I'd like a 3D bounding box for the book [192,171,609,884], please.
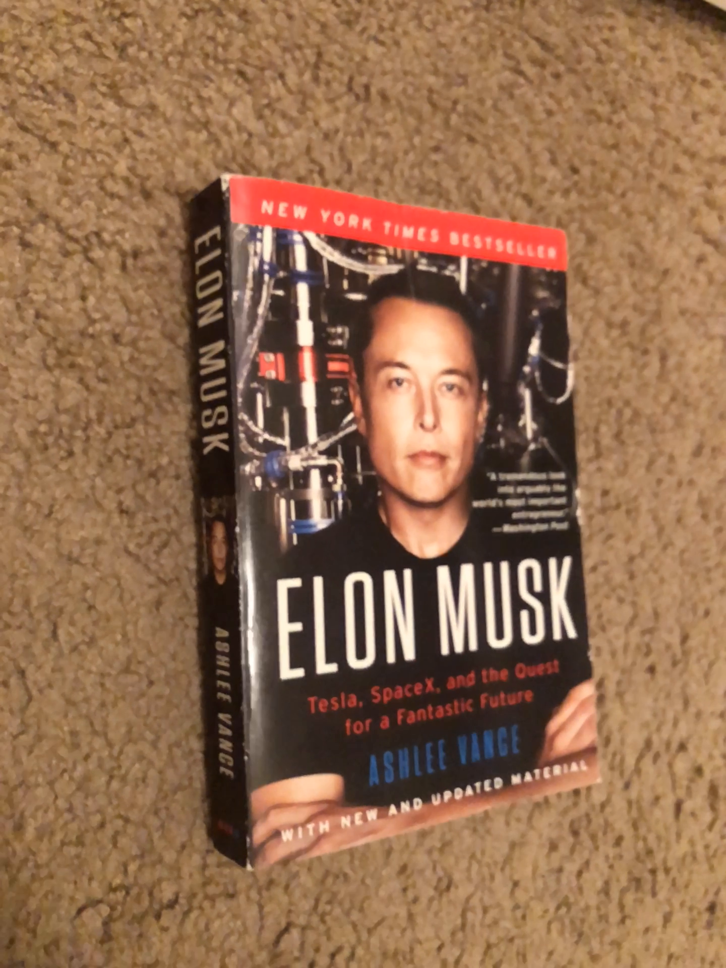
[{"bbox_3d":[0.016,0.011,0.279,0.137,0.033,0.202,-1,88,-28],"label":"book"}]
